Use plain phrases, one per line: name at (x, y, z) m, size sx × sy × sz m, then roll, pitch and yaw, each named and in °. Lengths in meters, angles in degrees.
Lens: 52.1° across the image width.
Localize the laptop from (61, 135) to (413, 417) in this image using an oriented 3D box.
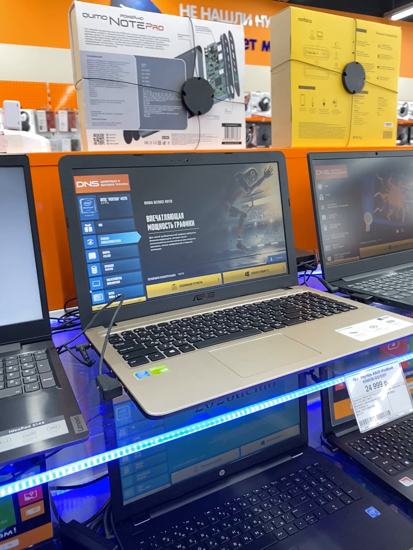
laptop at (0.044, -0.045, 0.551) m, size 0.376 × 0.230 × 0.294 m, roll -9°, pitch 14°, yaw -27°
